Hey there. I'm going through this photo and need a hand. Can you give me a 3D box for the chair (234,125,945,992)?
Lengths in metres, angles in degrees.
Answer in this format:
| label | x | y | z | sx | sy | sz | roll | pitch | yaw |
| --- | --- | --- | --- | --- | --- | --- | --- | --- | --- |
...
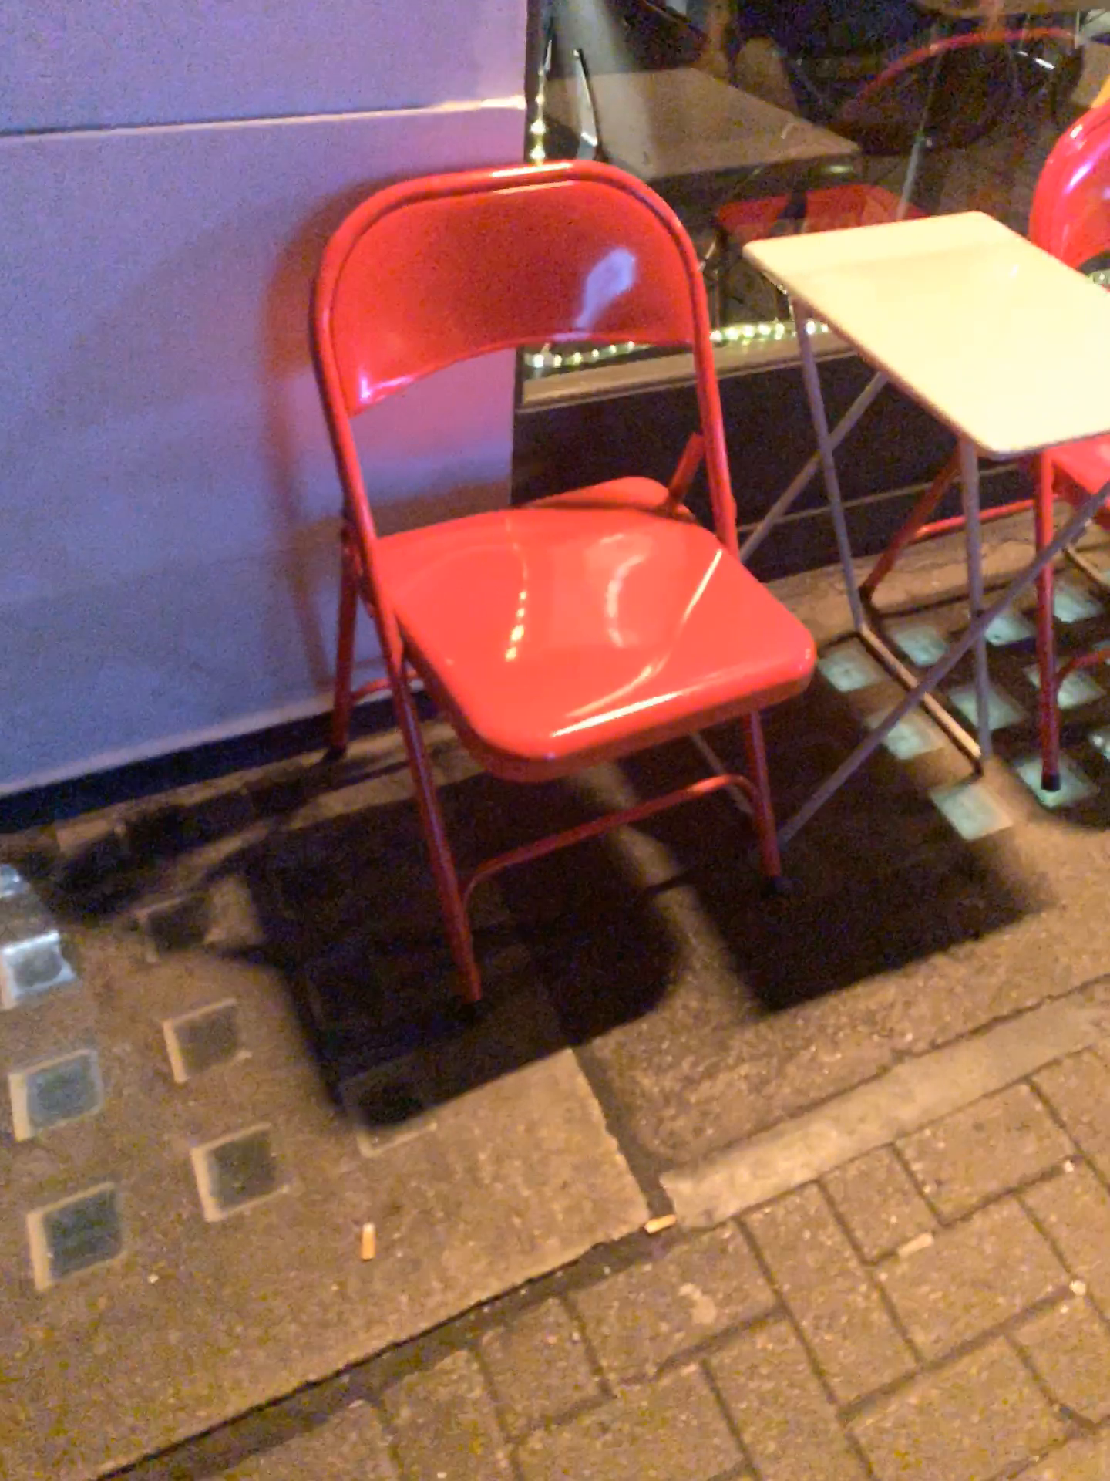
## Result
| label | x | y | z | sx | sy | sz | roll | pitch | yaw |
| --- | --- | --- | --- | --- | --- | --- | --- | --- | --- |
| chair | -0.017 | -0.209 | 1.299 | 0.471 | 0.742 | 0.534 | -17 | 48 | -21 |
